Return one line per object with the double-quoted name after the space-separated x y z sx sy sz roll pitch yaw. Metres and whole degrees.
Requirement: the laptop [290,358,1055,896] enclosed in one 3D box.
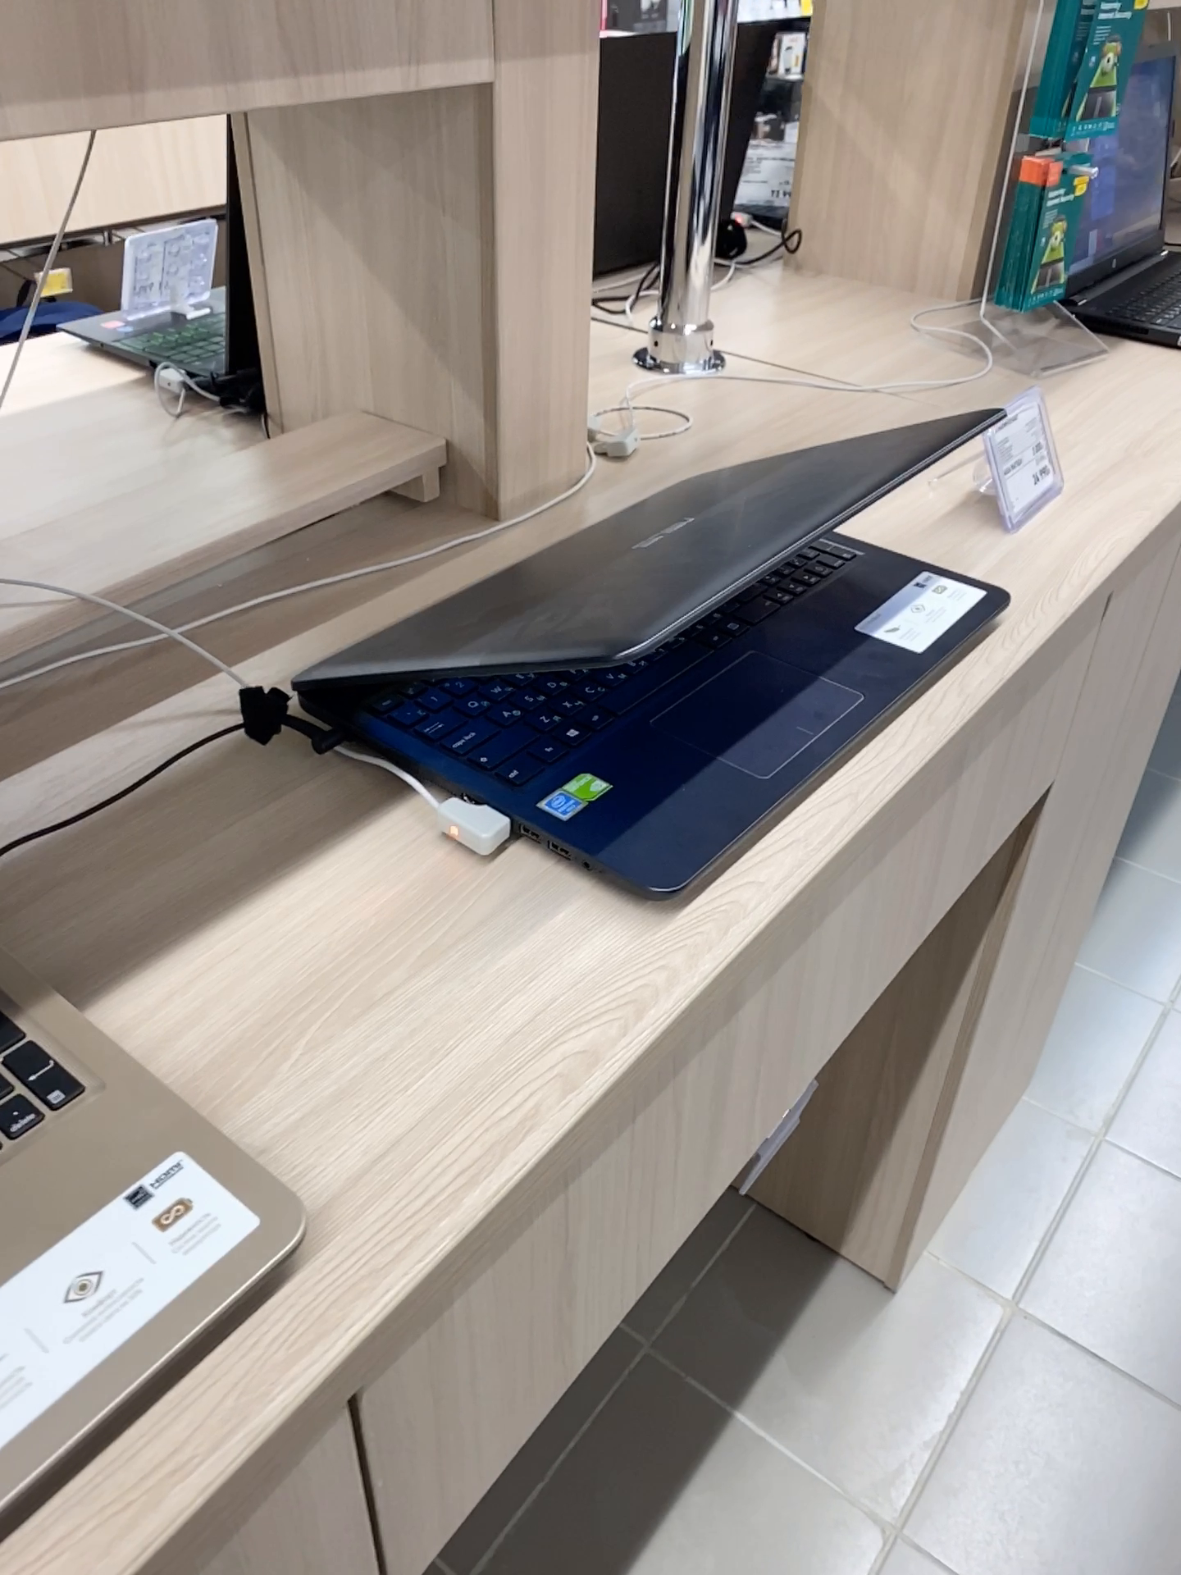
0.065 -0.125 0.678 0.236 0.098 0.387 27 42 28 "laptop"
